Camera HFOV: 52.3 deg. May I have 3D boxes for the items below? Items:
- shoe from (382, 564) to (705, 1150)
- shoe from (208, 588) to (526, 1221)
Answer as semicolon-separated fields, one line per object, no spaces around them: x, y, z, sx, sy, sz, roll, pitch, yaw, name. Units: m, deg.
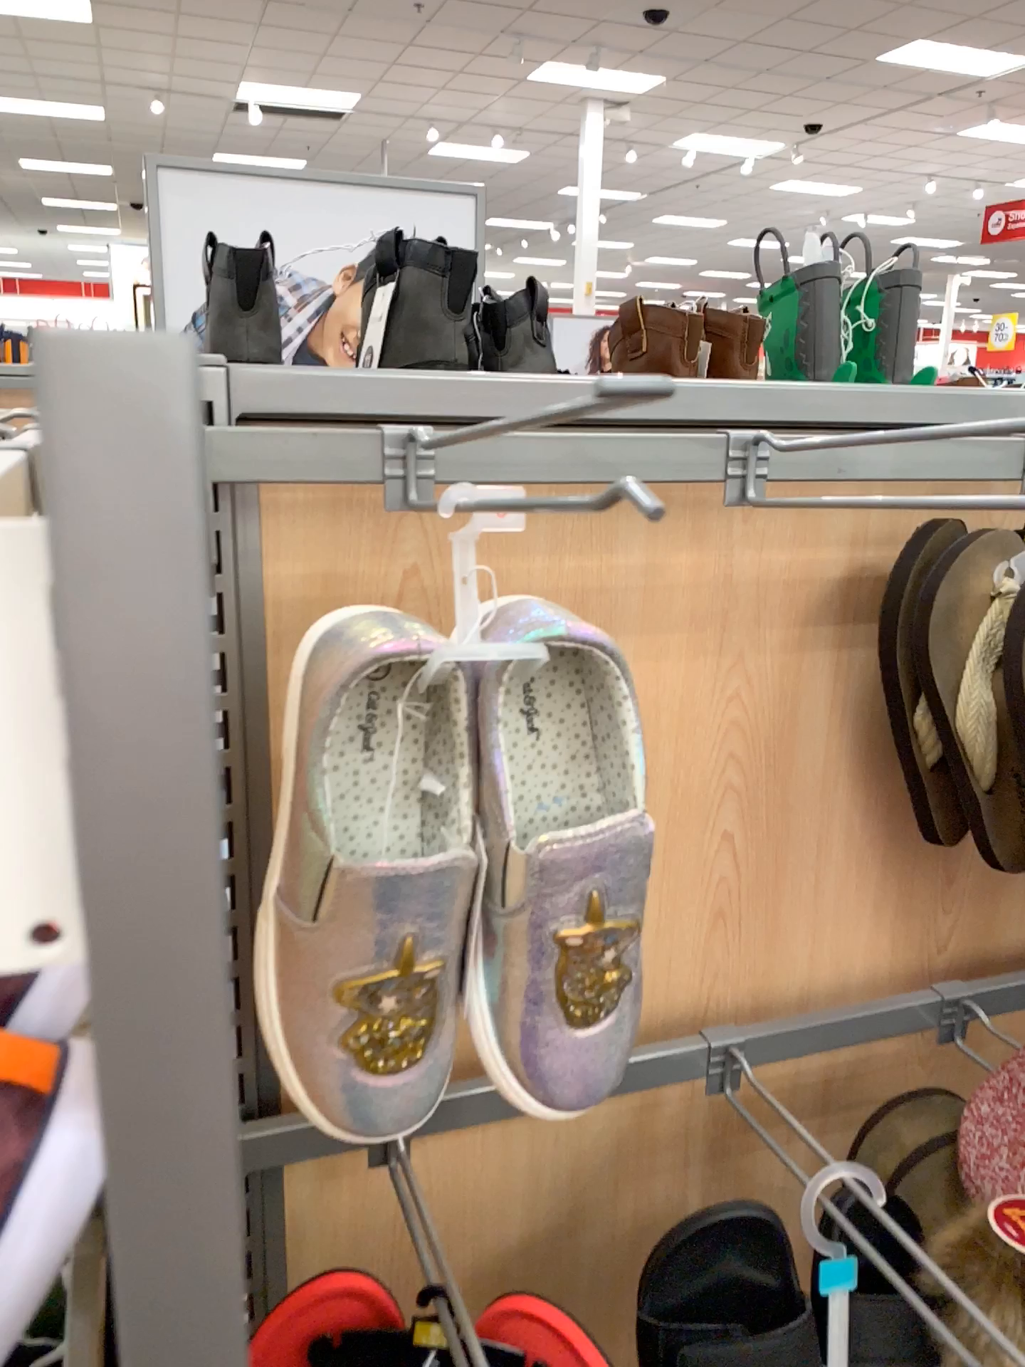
0.008;0.064;0.469;0.100;0.221;0.113;-5;13;-23;shoe
-0.063;0.079;0.441;0.100;0.221;0.113;-5;13;-23;shoe
